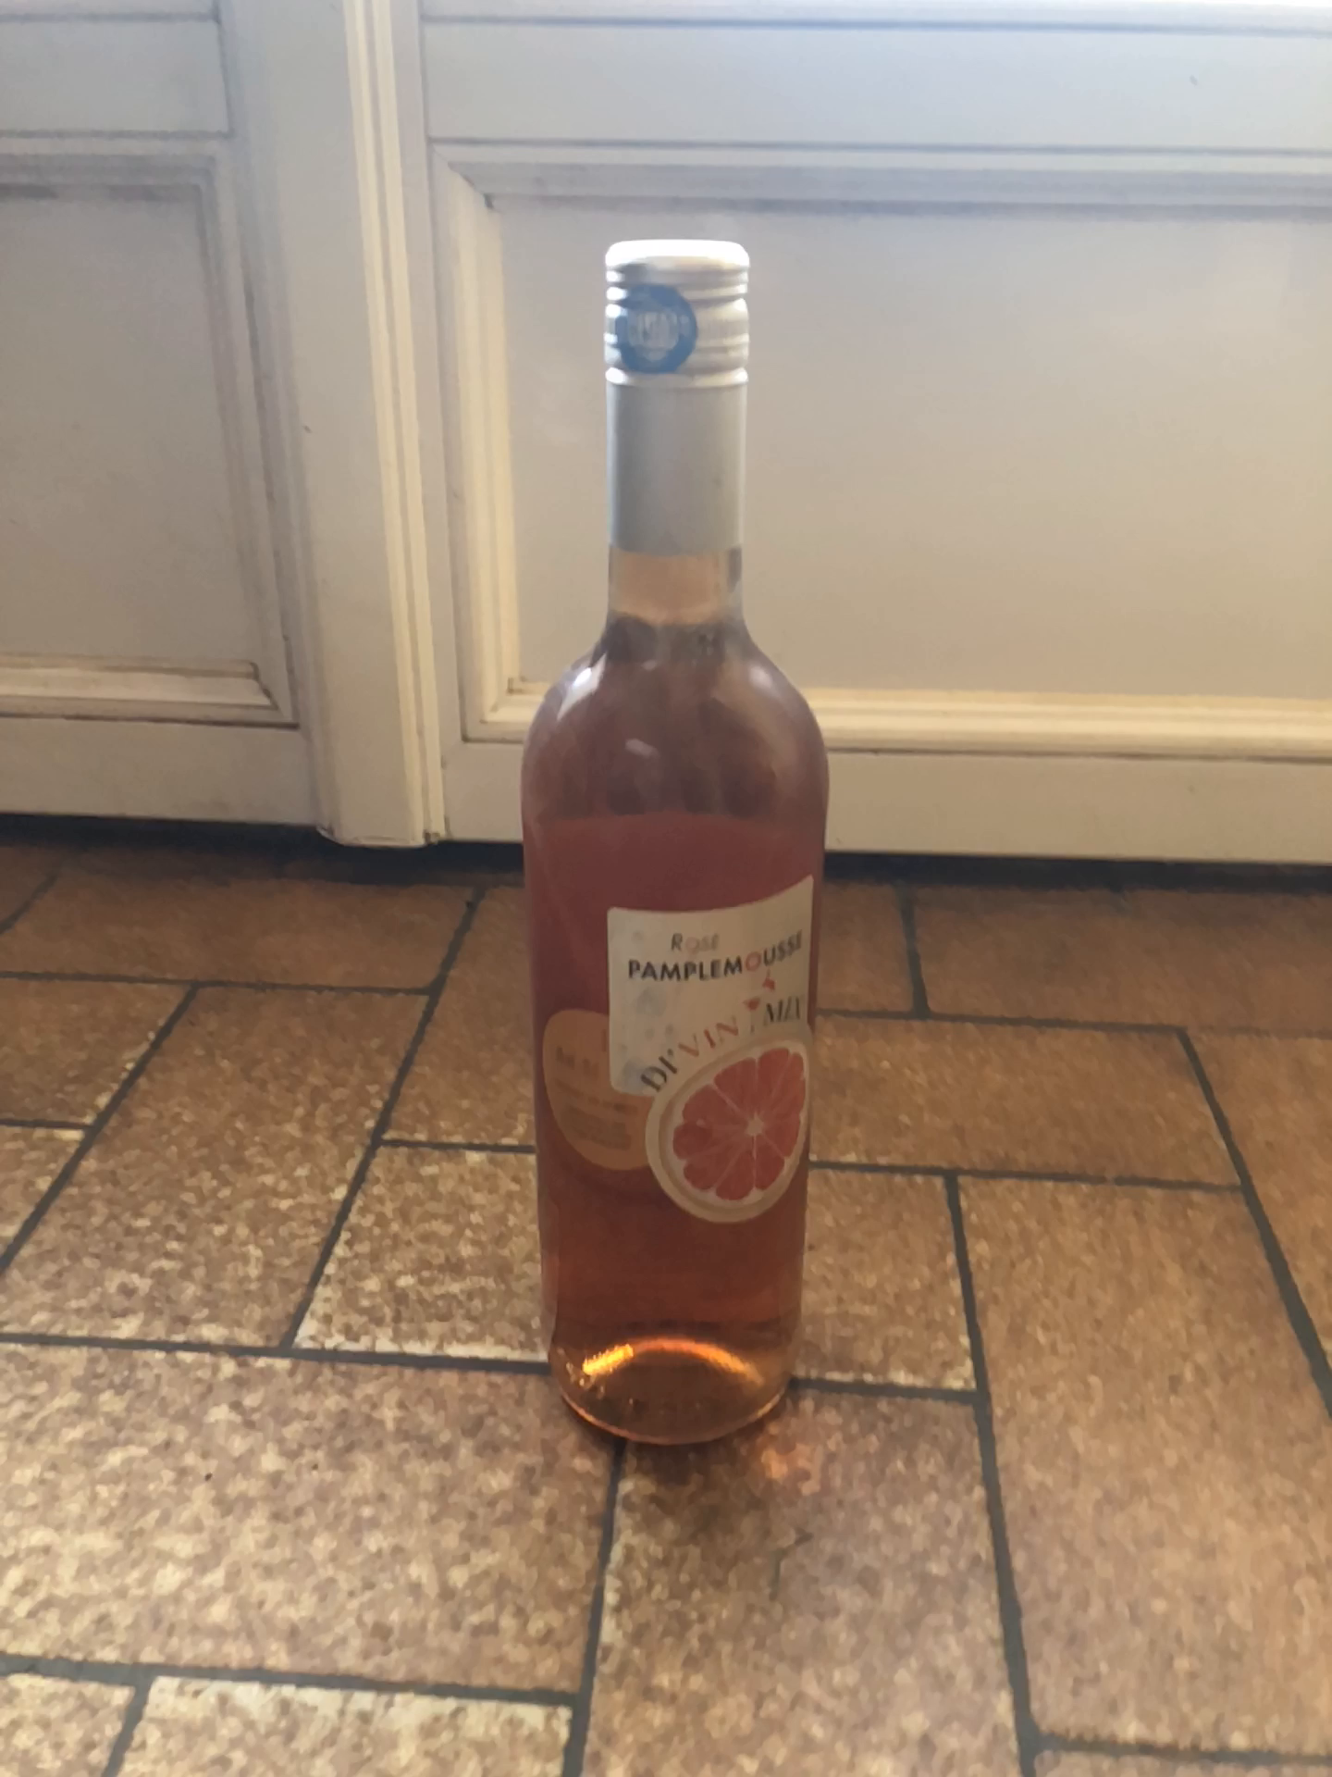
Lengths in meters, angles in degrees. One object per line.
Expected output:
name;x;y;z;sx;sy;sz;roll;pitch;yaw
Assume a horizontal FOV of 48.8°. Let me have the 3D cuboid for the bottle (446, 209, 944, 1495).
bottle;0.000;0.001;0.344;0.080;0.288;0.080;0;27;0
